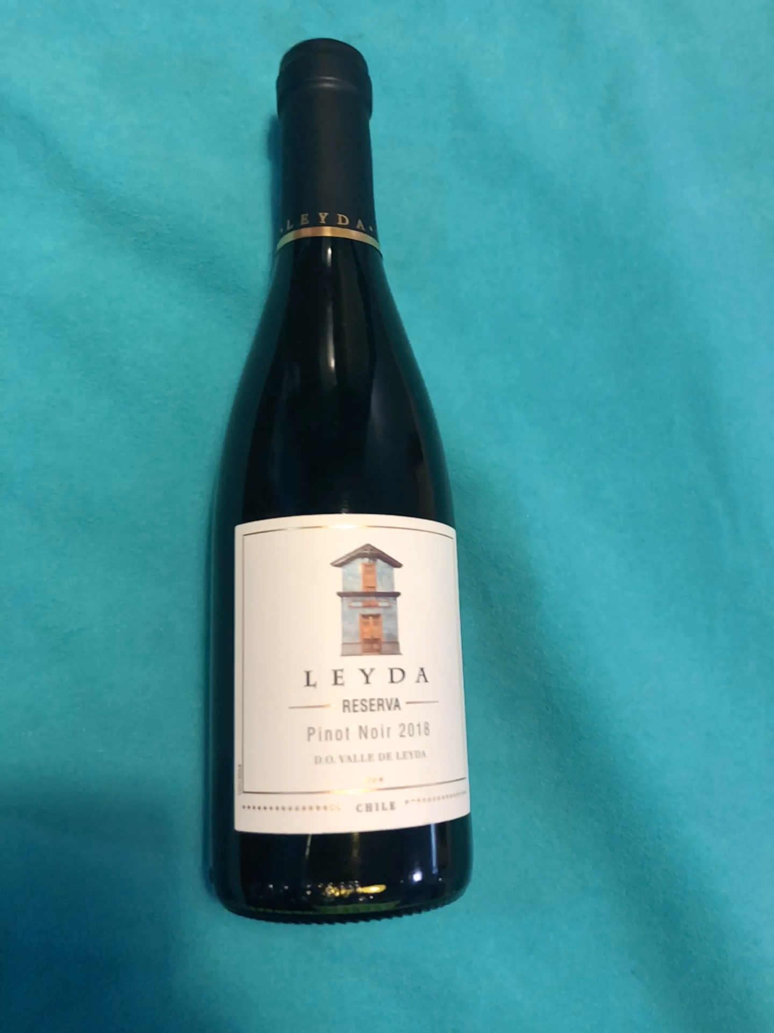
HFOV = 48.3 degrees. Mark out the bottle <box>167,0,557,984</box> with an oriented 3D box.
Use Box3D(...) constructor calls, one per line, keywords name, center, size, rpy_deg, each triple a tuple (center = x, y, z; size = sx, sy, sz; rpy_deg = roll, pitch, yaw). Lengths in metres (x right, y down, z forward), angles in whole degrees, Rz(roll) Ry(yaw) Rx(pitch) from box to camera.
Box3D(name="bottle", center=(-0.006, -0.039, 0.215), size=(0.070, 0.080, 0.260), rpy_deg=(3, 80, -9))
